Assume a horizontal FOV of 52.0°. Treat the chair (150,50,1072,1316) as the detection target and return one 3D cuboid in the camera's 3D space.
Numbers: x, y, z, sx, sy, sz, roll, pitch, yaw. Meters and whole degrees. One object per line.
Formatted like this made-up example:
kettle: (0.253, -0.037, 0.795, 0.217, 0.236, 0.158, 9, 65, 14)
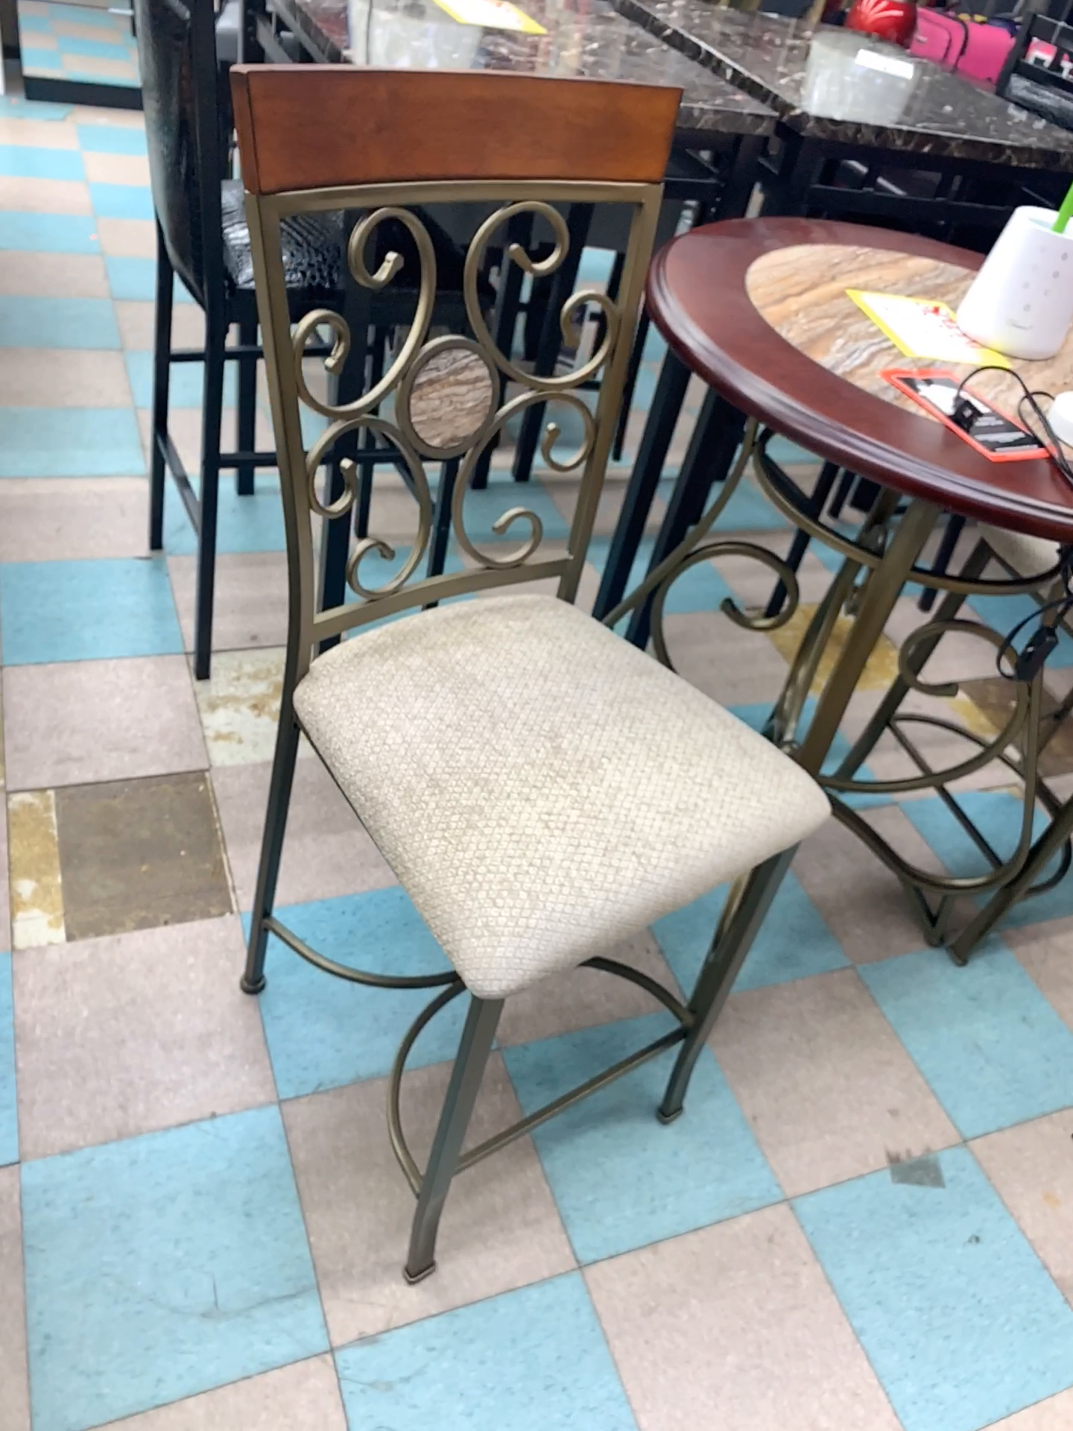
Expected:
chair: (-0.011, 0.004, 1.147, 0.511, 1.052, 0.610, -19, 51, -33)
